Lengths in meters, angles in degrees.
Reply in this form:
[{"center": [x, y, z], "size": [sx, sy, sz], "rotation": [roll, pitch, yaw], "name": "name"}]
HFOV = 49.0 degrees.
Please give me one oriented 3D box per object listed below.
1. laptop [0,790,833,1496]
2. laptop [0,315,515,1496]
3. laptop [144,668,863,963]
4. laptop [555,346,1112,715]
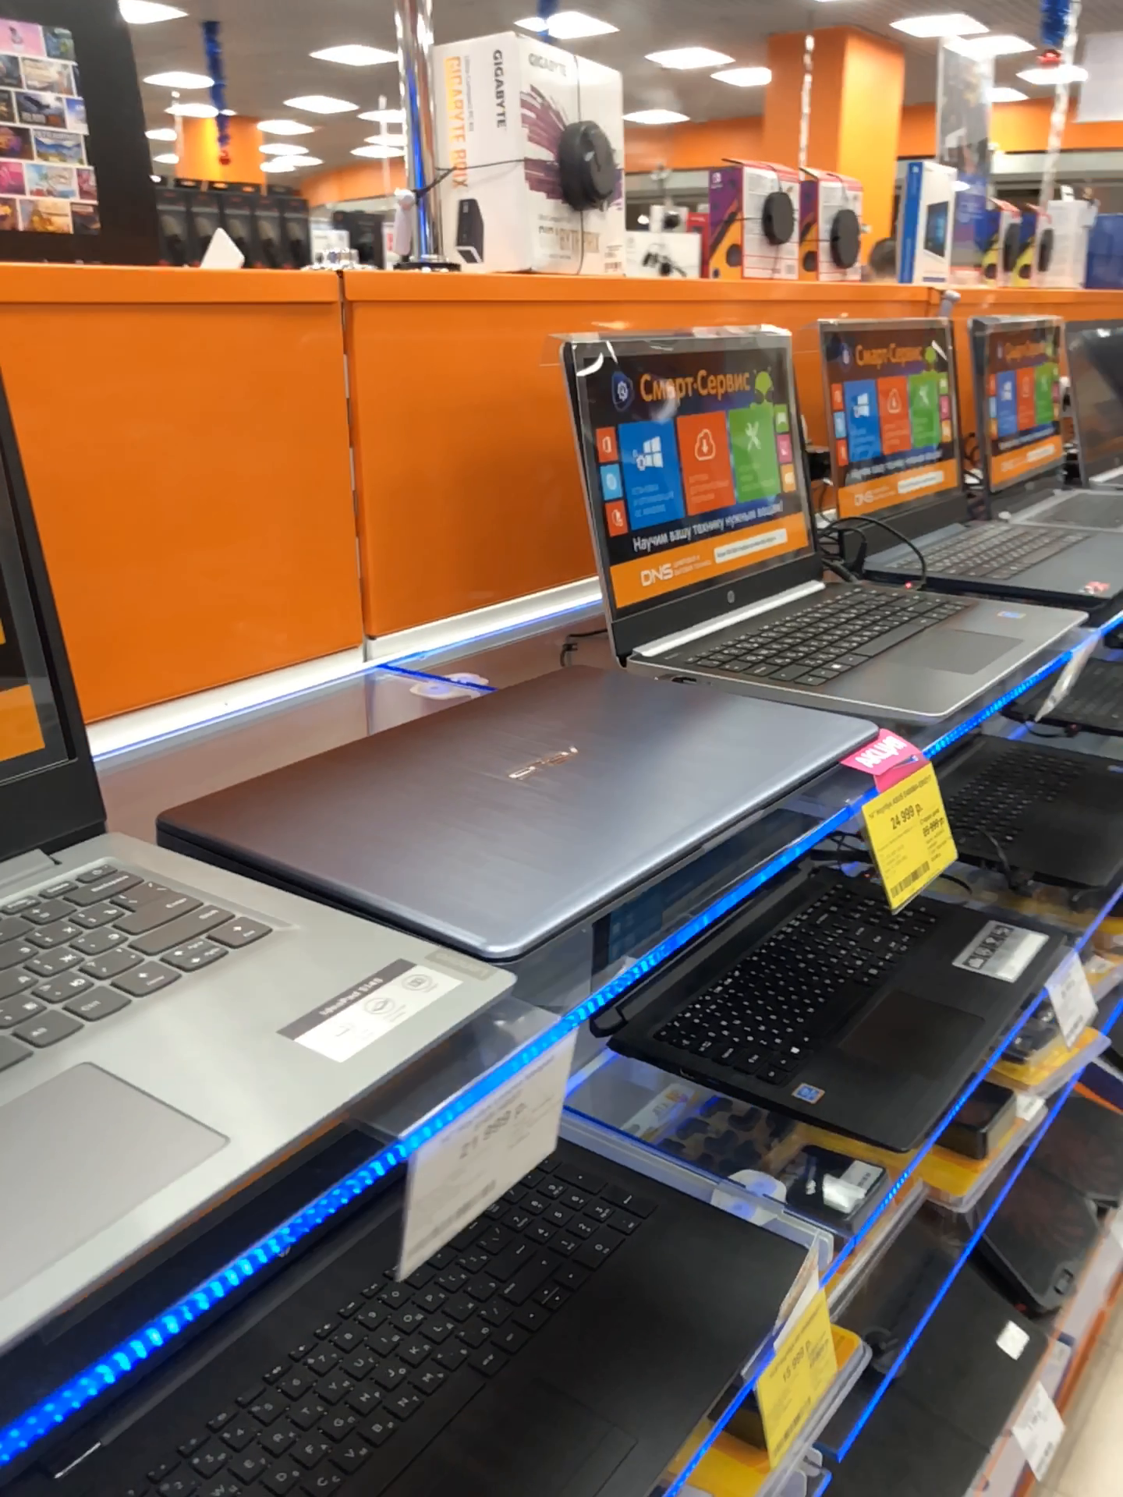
[{"center": [-0.091, 0.219, 0.645], "size": [0.313, 0.227, 0.378], "rotation": [14, 24, 35], "name": "laptop"}, {"center": [-0.241, 0.000, 0.345], "size": [0.289, 0.225, 0.354], "rotation": [13, 24, 33], "name": "laptop"}, {"center": [-0.013, 0.013, 0.637], "size": [0.214, 0.001, 0.325], "rotation": [15, 24, 35], "name": "laptop"}, {"center": [0.205, -0.185, 0.903], "size": [0.271, 0.205, 0.337], "rotation": [13, 22, 33], "name": "laptop"}]
